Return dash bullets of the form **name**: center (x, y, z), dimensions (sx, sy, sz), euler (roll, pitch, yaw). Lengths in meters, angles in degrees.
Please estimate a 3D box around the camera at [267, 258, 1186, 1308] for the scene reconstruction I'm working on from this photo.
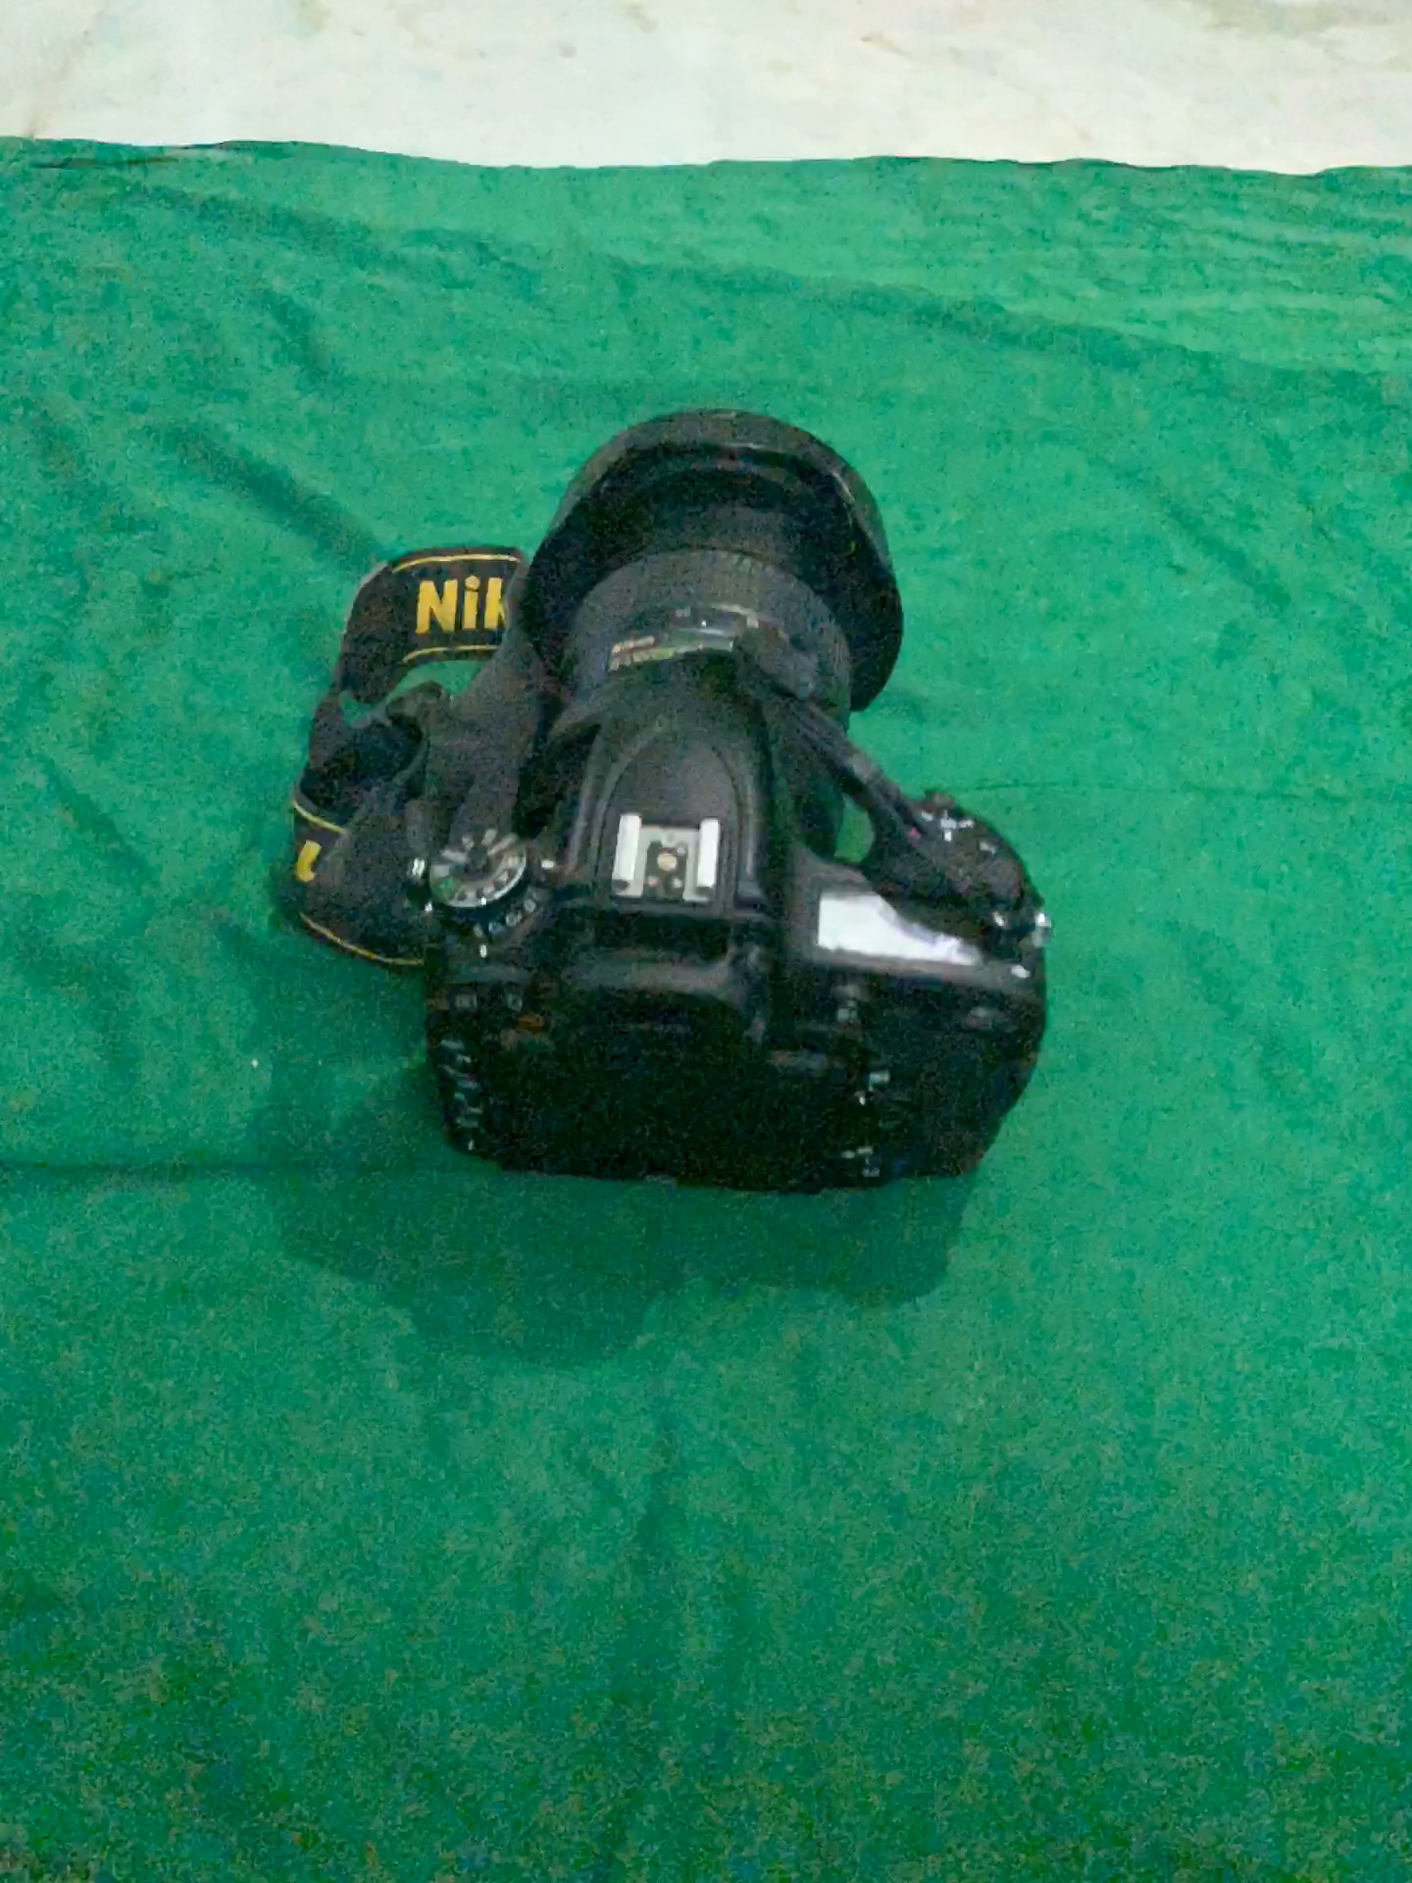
- **camera**: center (0.018, -0.066, 0.398), dimensions (0.170, 0.100, 0.291), euler (6, 50, 3)
